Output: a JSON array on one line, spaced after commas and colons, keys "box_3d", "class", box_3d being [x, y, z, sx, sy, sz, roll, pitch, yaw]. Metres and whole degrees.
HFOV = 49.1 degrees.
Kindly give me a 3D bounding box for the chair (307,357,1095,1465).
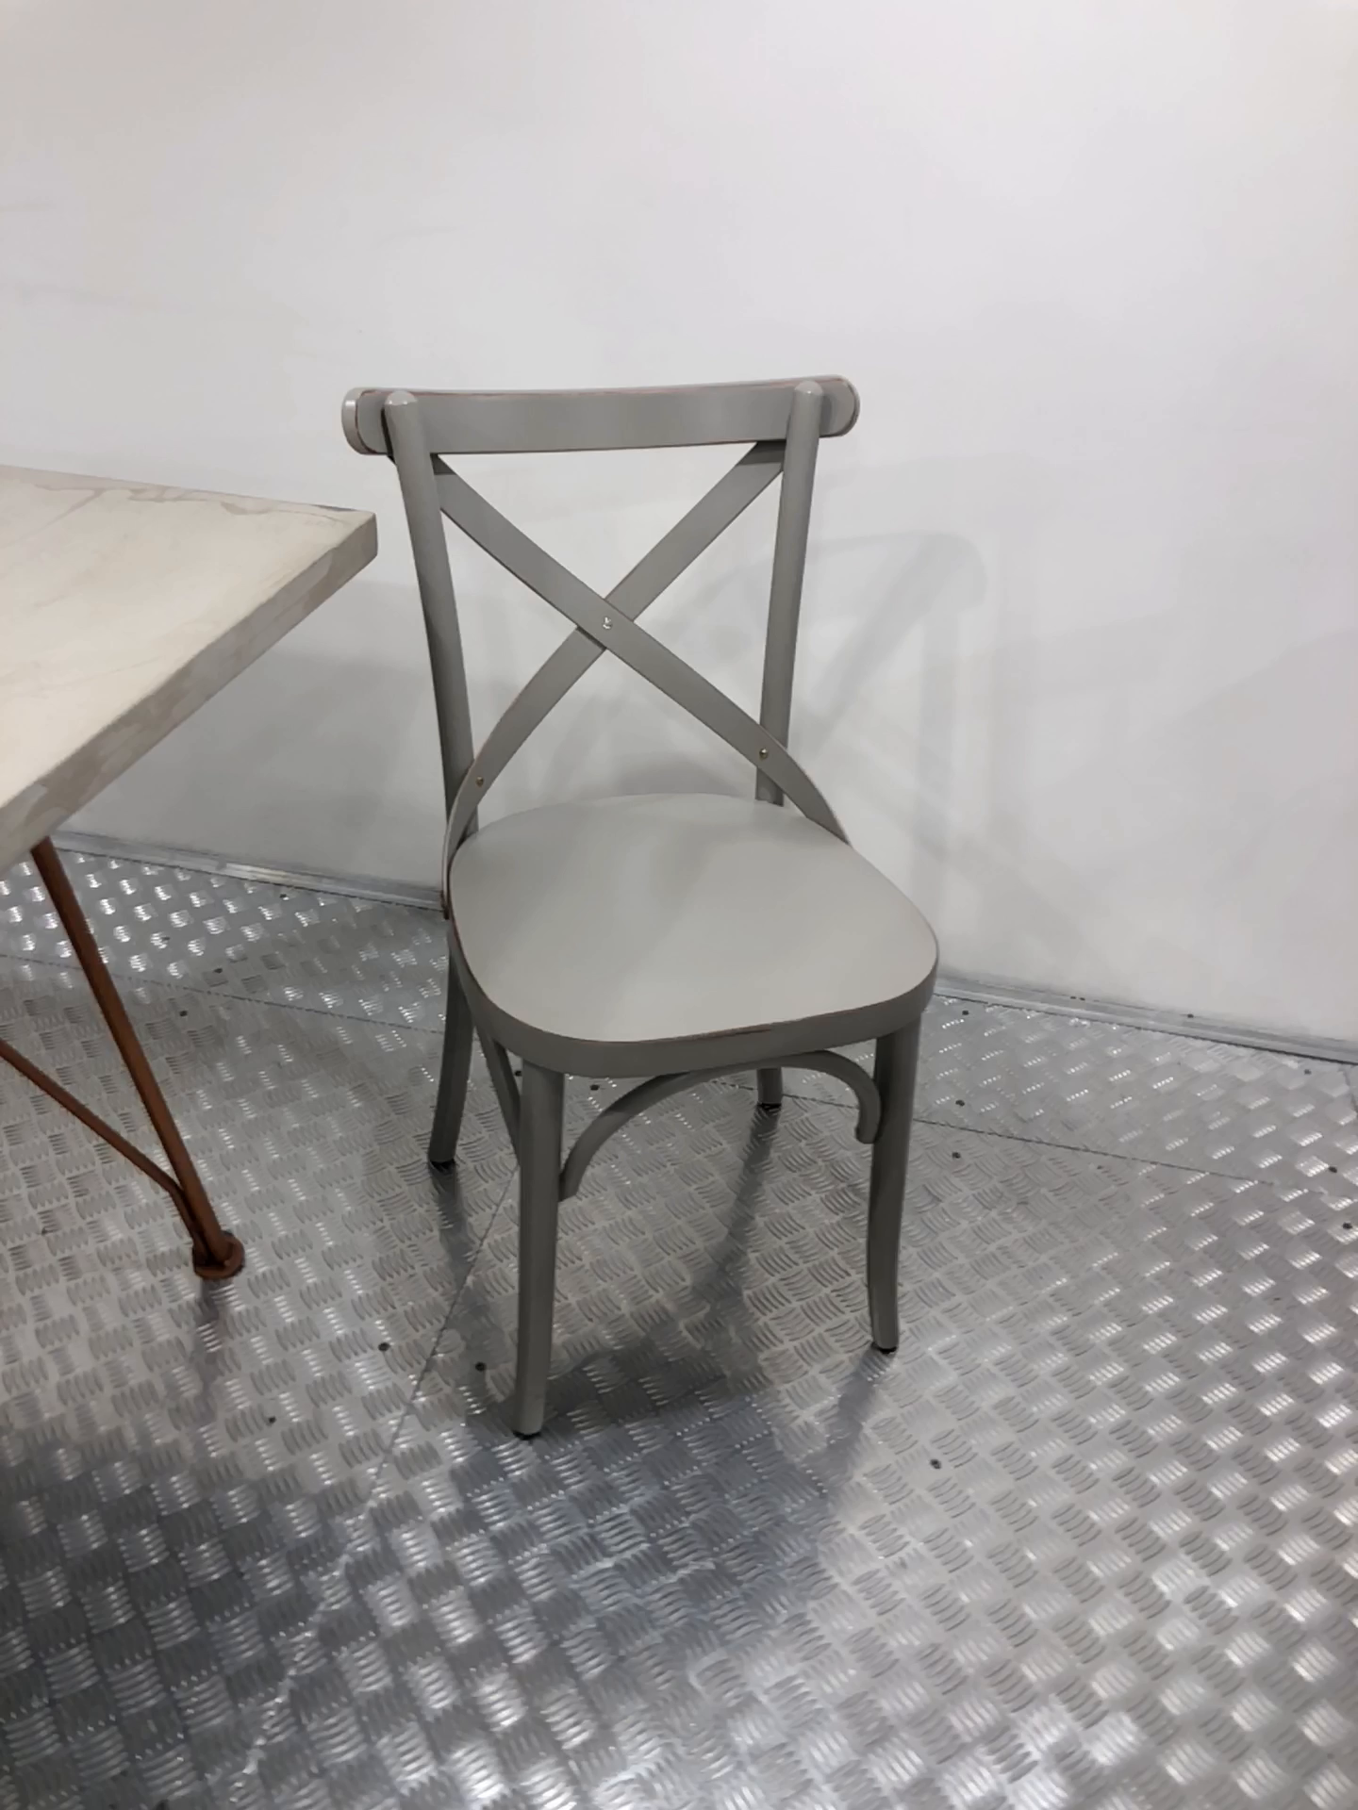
[{"box_3d": [-0.037, -0.013, 1.463, 0.511, 0.893, 0.503, -8, 33, -18], "class": "chair"}]
